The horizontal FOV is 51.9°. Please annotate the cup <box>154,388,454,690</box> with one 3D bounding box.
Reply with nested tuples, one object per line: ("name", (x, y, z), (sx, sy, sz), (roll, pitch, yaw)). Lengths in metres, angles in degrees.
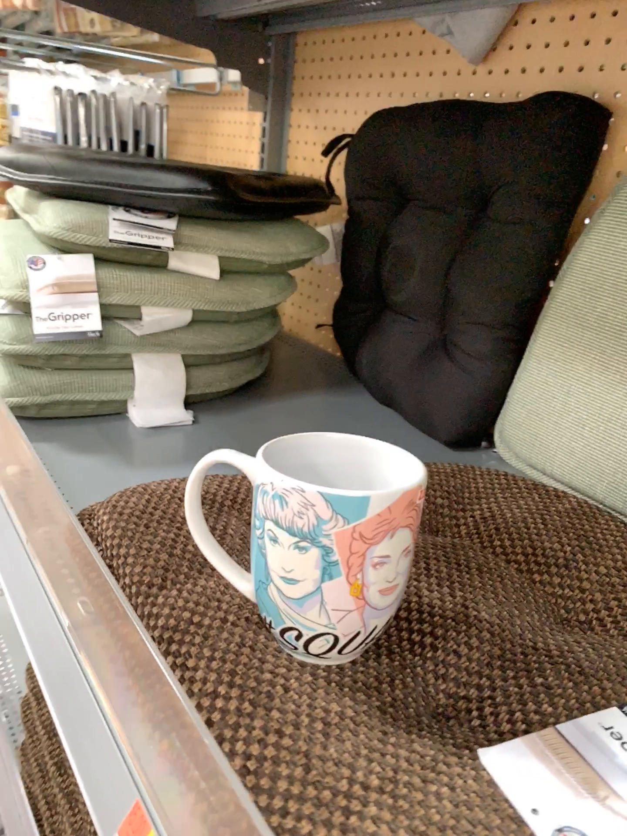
("cup", (-0.005, 0.056, 0.353), (0.128, 0.100, 0.090), (15, 21, 21))
